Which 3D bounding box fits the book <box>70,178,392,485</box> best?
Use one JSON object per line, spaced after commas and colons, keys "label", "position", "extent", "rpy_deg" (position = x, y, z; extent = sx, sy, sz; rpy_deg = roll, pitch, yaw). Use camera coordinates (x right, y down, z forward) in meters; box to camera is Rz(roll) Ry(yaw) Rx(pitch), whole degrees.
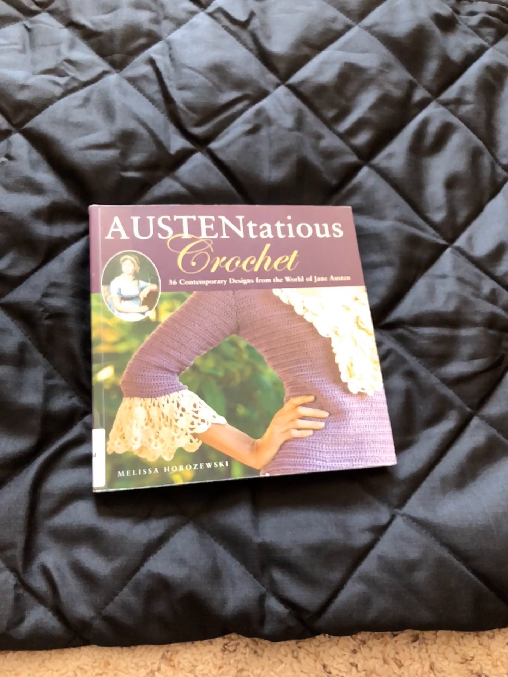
{"label": "book", "position": [-0.023, -0.018, 0.430], "extent": [0.220, 0.020, 0.230], "rpy_deg": [-3, 71, -10]}
